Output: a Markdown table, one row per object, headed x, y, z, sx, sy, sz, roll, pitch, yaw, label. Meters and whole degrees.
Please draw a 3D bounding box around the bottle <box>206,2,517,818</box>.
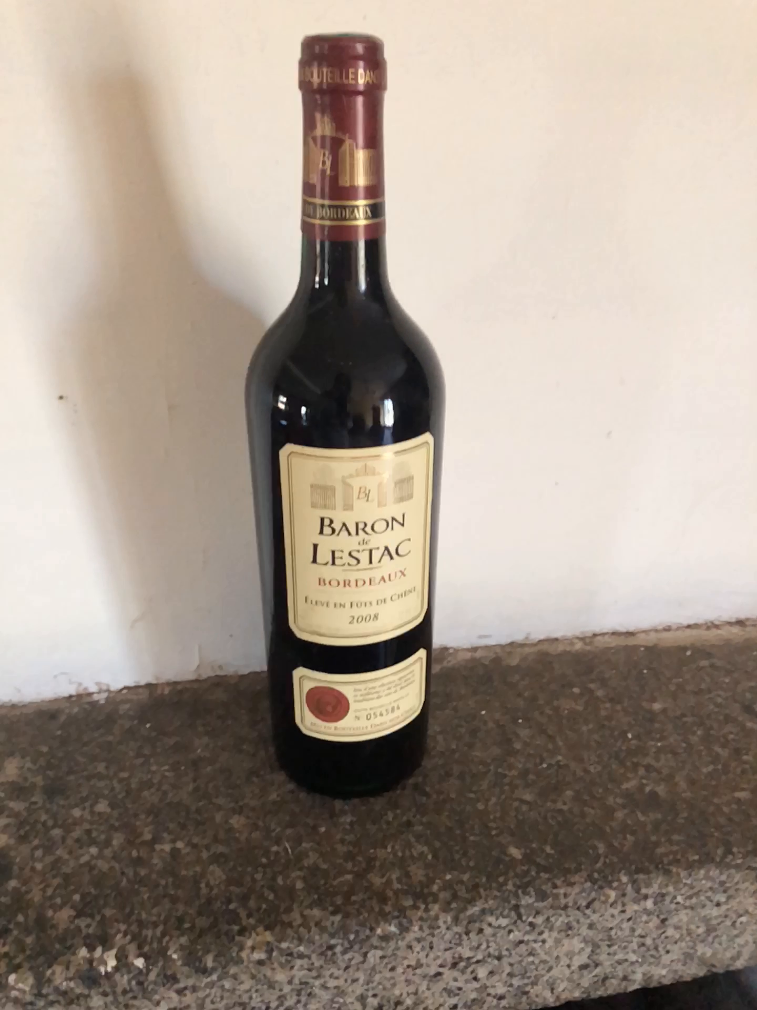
| x | y | z | sx | sy | sz | roll | pitch | yaw | label |
| --- | --- | --- | --- | --- | --- | --- | --- | --- | --- |
| -0.007 | -0.019 | 0.307 | 0.080 | 0.278 | 0.070 | -4 | 27 | -7 | bottle |
